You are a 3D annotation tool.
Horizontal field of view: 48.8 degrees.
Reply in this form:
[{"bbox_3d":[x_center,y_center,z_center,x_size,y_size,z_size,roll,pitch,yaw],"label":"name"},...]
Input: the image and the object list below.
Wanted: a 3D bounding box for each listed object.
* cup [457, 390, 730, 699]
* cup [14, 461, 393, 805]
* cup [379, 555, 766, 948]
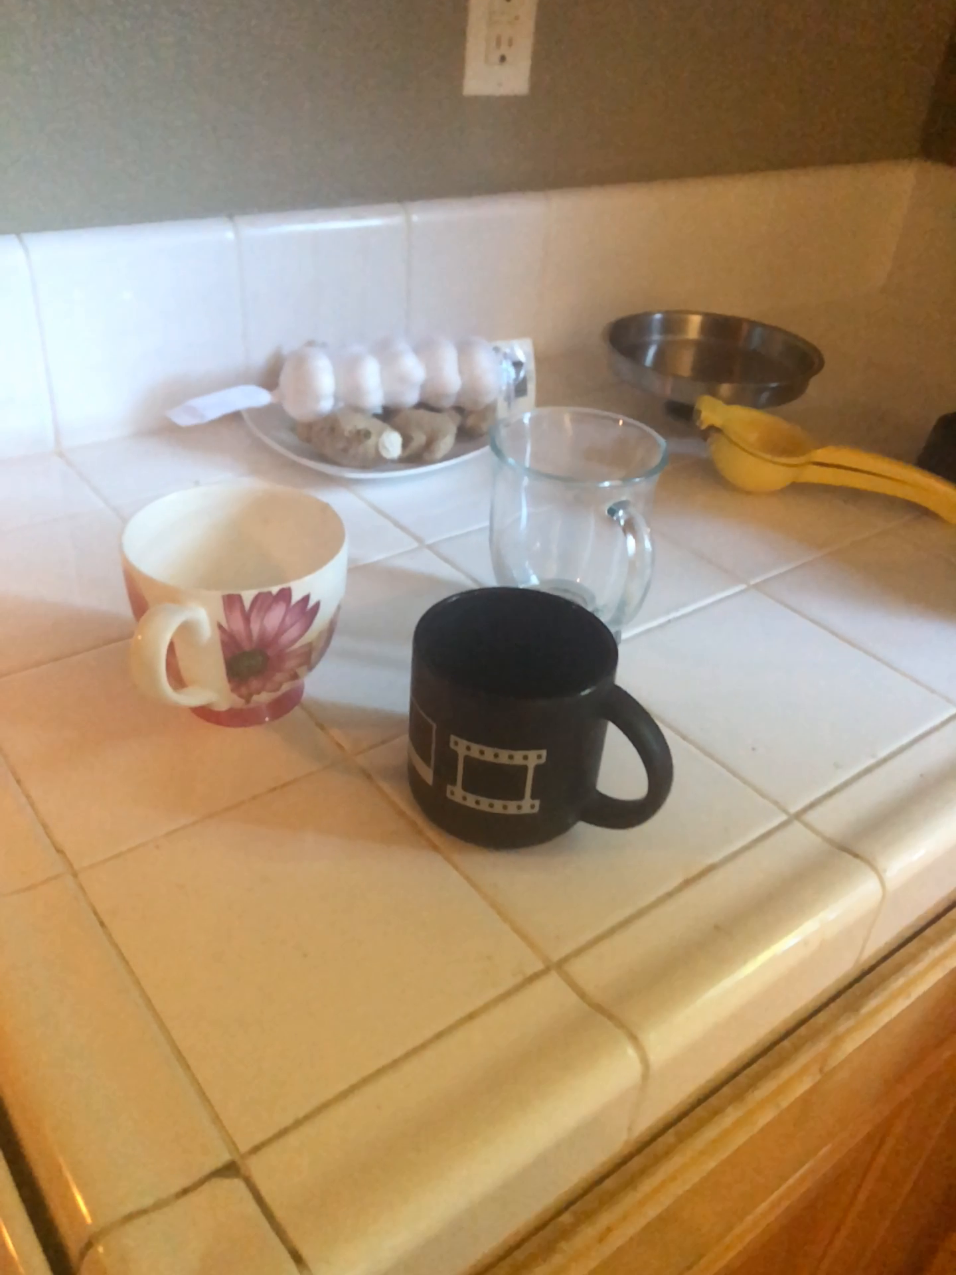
[{"bbox_3d":[0.054,-0.055,0.578,0.100,0.119,0.121,-4,36,-14],"label":"cup"},{"bbox_3d":[-0.124,-0.010,0.513,0.110,0.079,0.141,17,36,16],"label":"cup"},{"bbox_3d":[0.038,0.044,0.477,0.130,0.089,0.101,30,41,30],"label":"cup"}]
